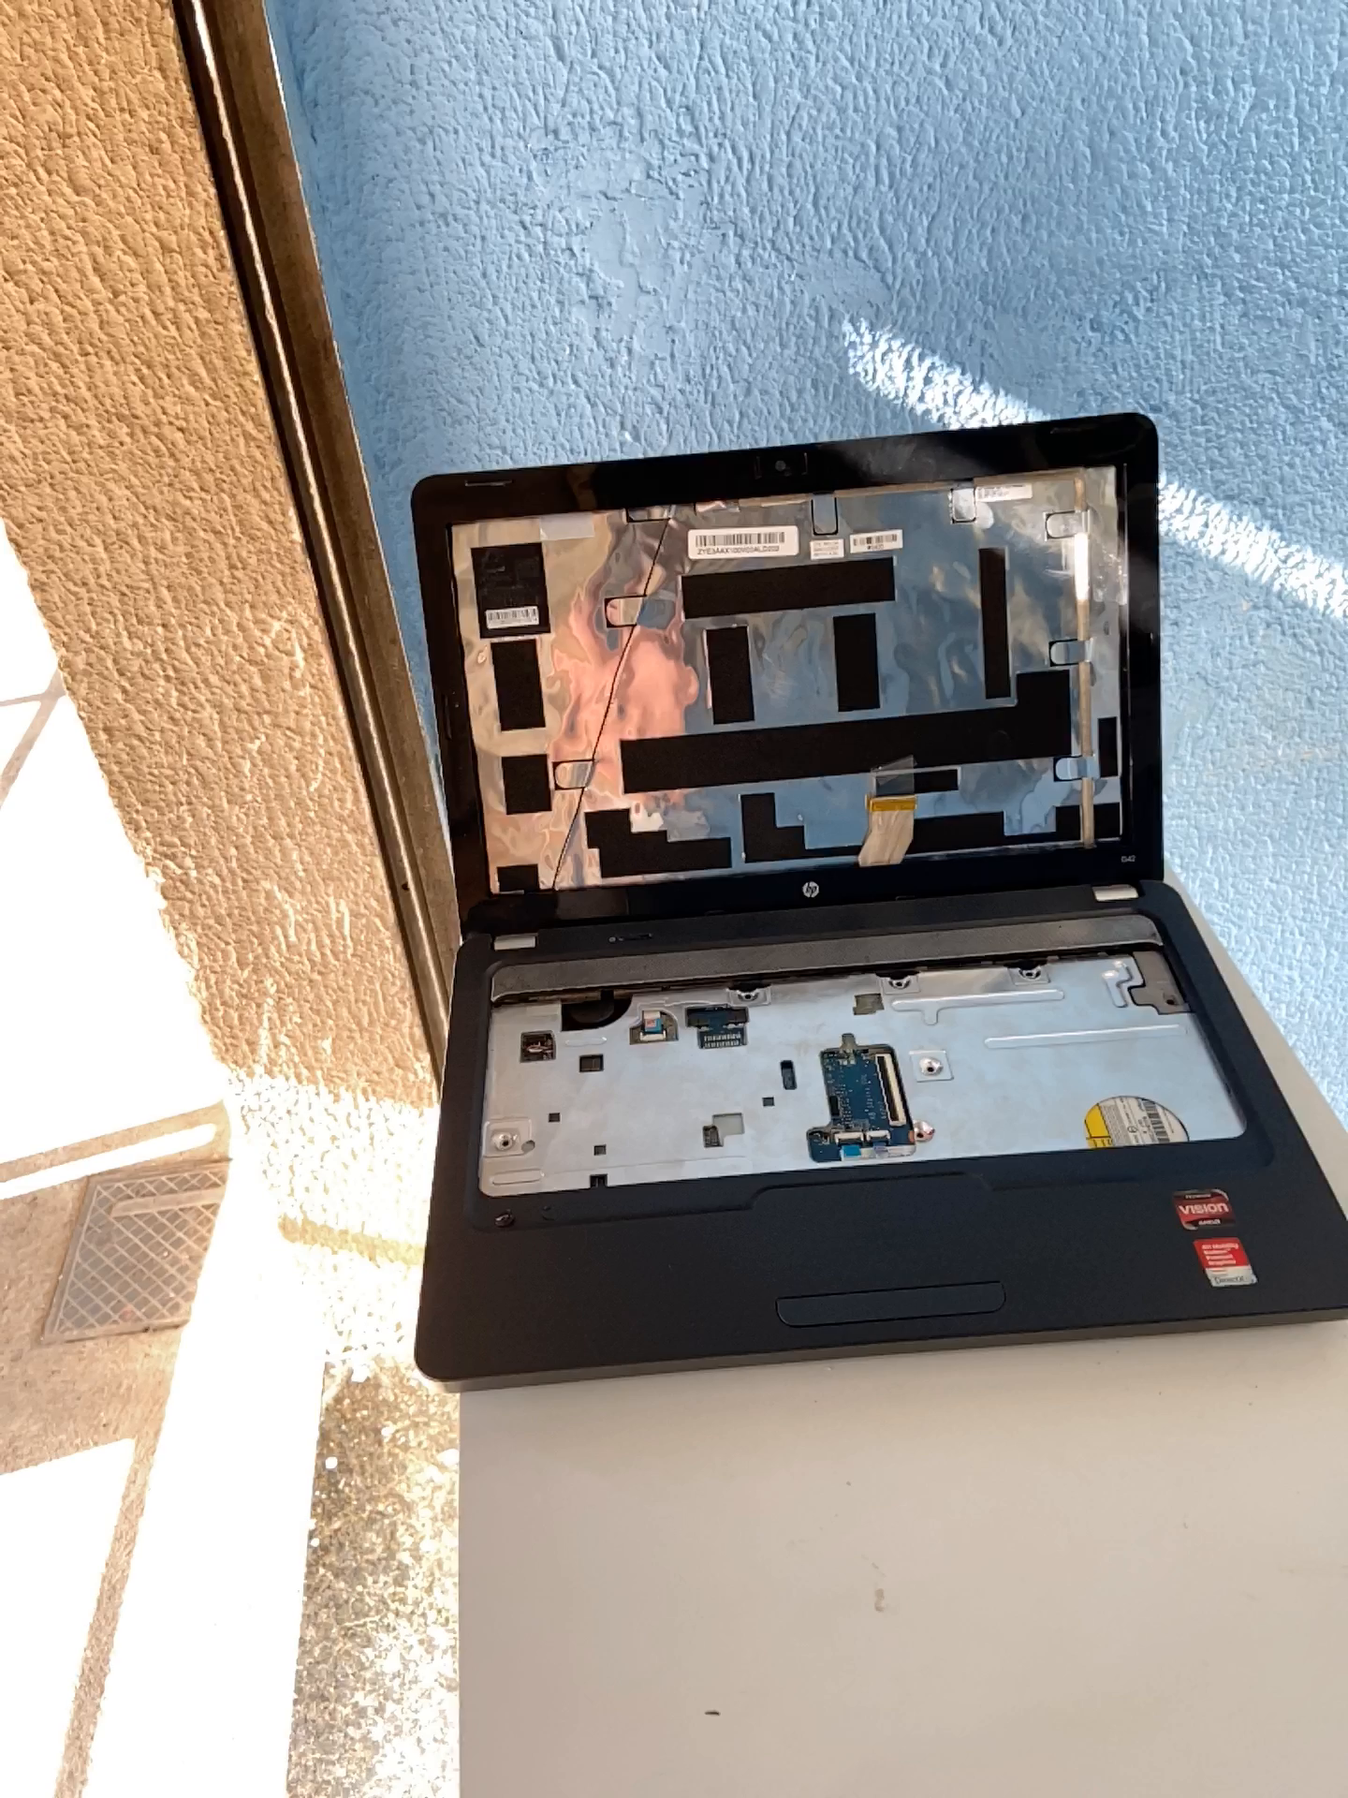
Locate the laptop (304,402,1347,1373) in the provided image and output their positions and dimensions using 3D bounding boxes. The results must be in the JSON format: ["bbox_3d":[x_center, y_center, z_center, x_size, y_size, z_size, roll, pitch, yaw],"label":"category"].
[{"bbox_3d":[0.063,-0.031,0.562,0.338,0.179,0.351,-4,41,0],"label":"laptop"}]
